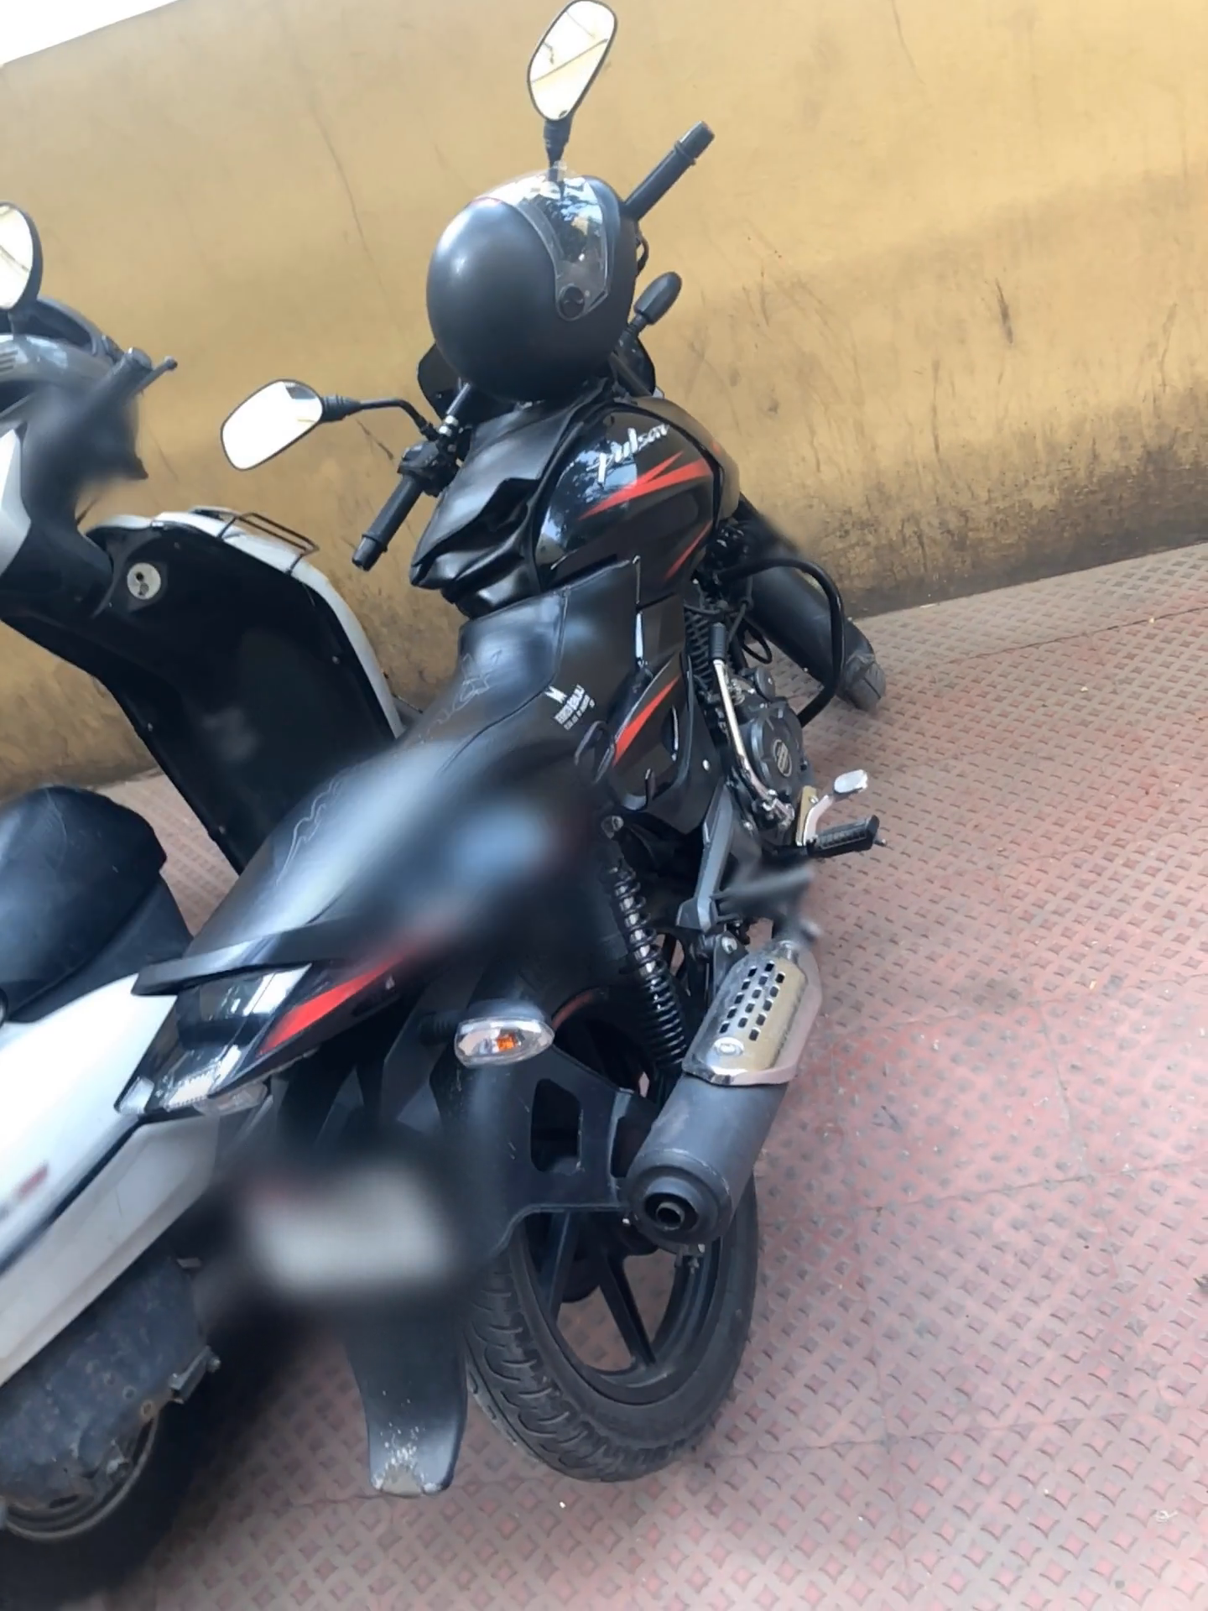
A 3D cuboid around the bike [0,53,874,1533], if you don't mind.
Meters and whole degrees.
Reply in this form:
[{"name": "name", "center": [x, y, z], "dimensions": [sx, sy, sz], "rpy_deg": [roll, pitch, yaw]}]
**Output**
[{"name": "bike", "center": [-0.209, -0.138, 1.788], "dimensions": [0.827, 1.057, 1.612], "rpy_deg": [-10, 39, 15]}]
